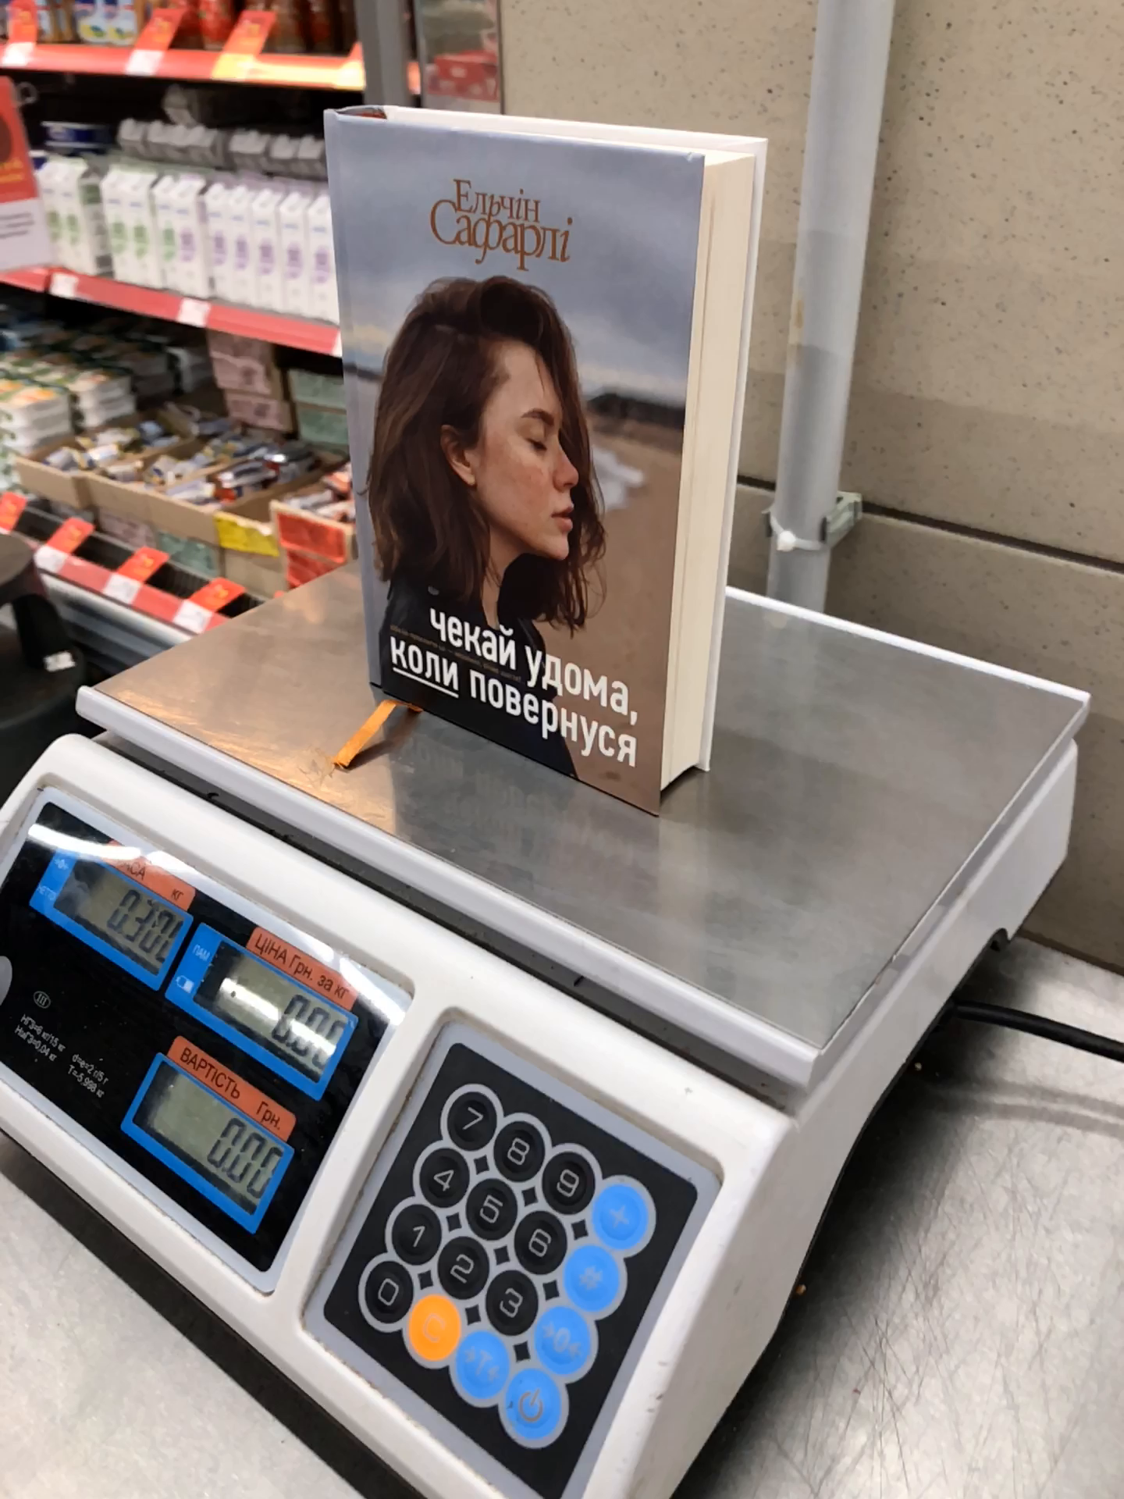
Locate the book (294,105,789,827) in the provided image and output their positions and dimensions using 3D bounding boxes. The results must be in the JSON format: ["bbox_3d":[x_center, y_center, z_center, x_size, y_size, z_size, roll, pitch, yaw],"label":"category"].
[{"bbox_3d":[-0.010,-0.086,0.374,0.137,0.186,0.037,22,37,31],"label":"book"}]
